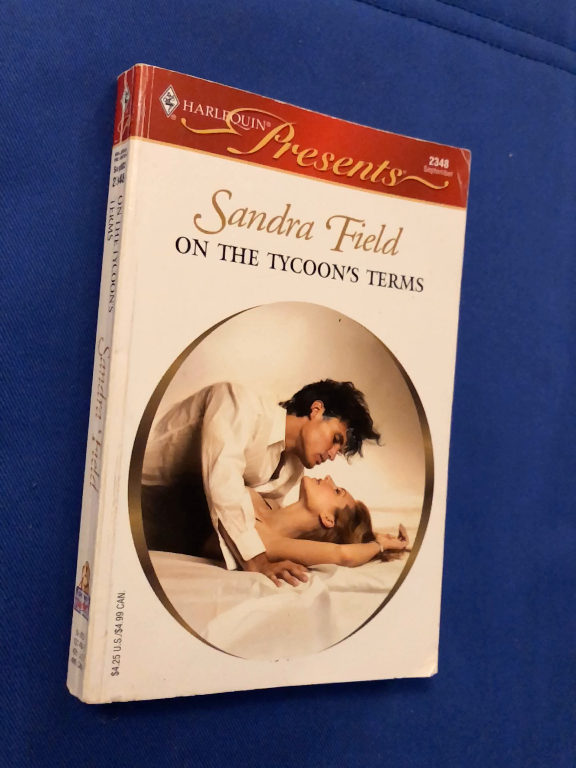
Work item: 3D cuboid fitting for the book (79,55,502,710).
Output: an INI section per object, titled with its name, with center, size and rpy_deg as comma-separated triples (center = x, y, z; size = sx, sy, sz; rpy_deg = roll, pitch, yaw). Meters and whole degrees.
[book]
center = 0.005, 0.003, 0.183
size = 0.107, 0.020, 0.157
rpy_deg = 6, 88, -21
